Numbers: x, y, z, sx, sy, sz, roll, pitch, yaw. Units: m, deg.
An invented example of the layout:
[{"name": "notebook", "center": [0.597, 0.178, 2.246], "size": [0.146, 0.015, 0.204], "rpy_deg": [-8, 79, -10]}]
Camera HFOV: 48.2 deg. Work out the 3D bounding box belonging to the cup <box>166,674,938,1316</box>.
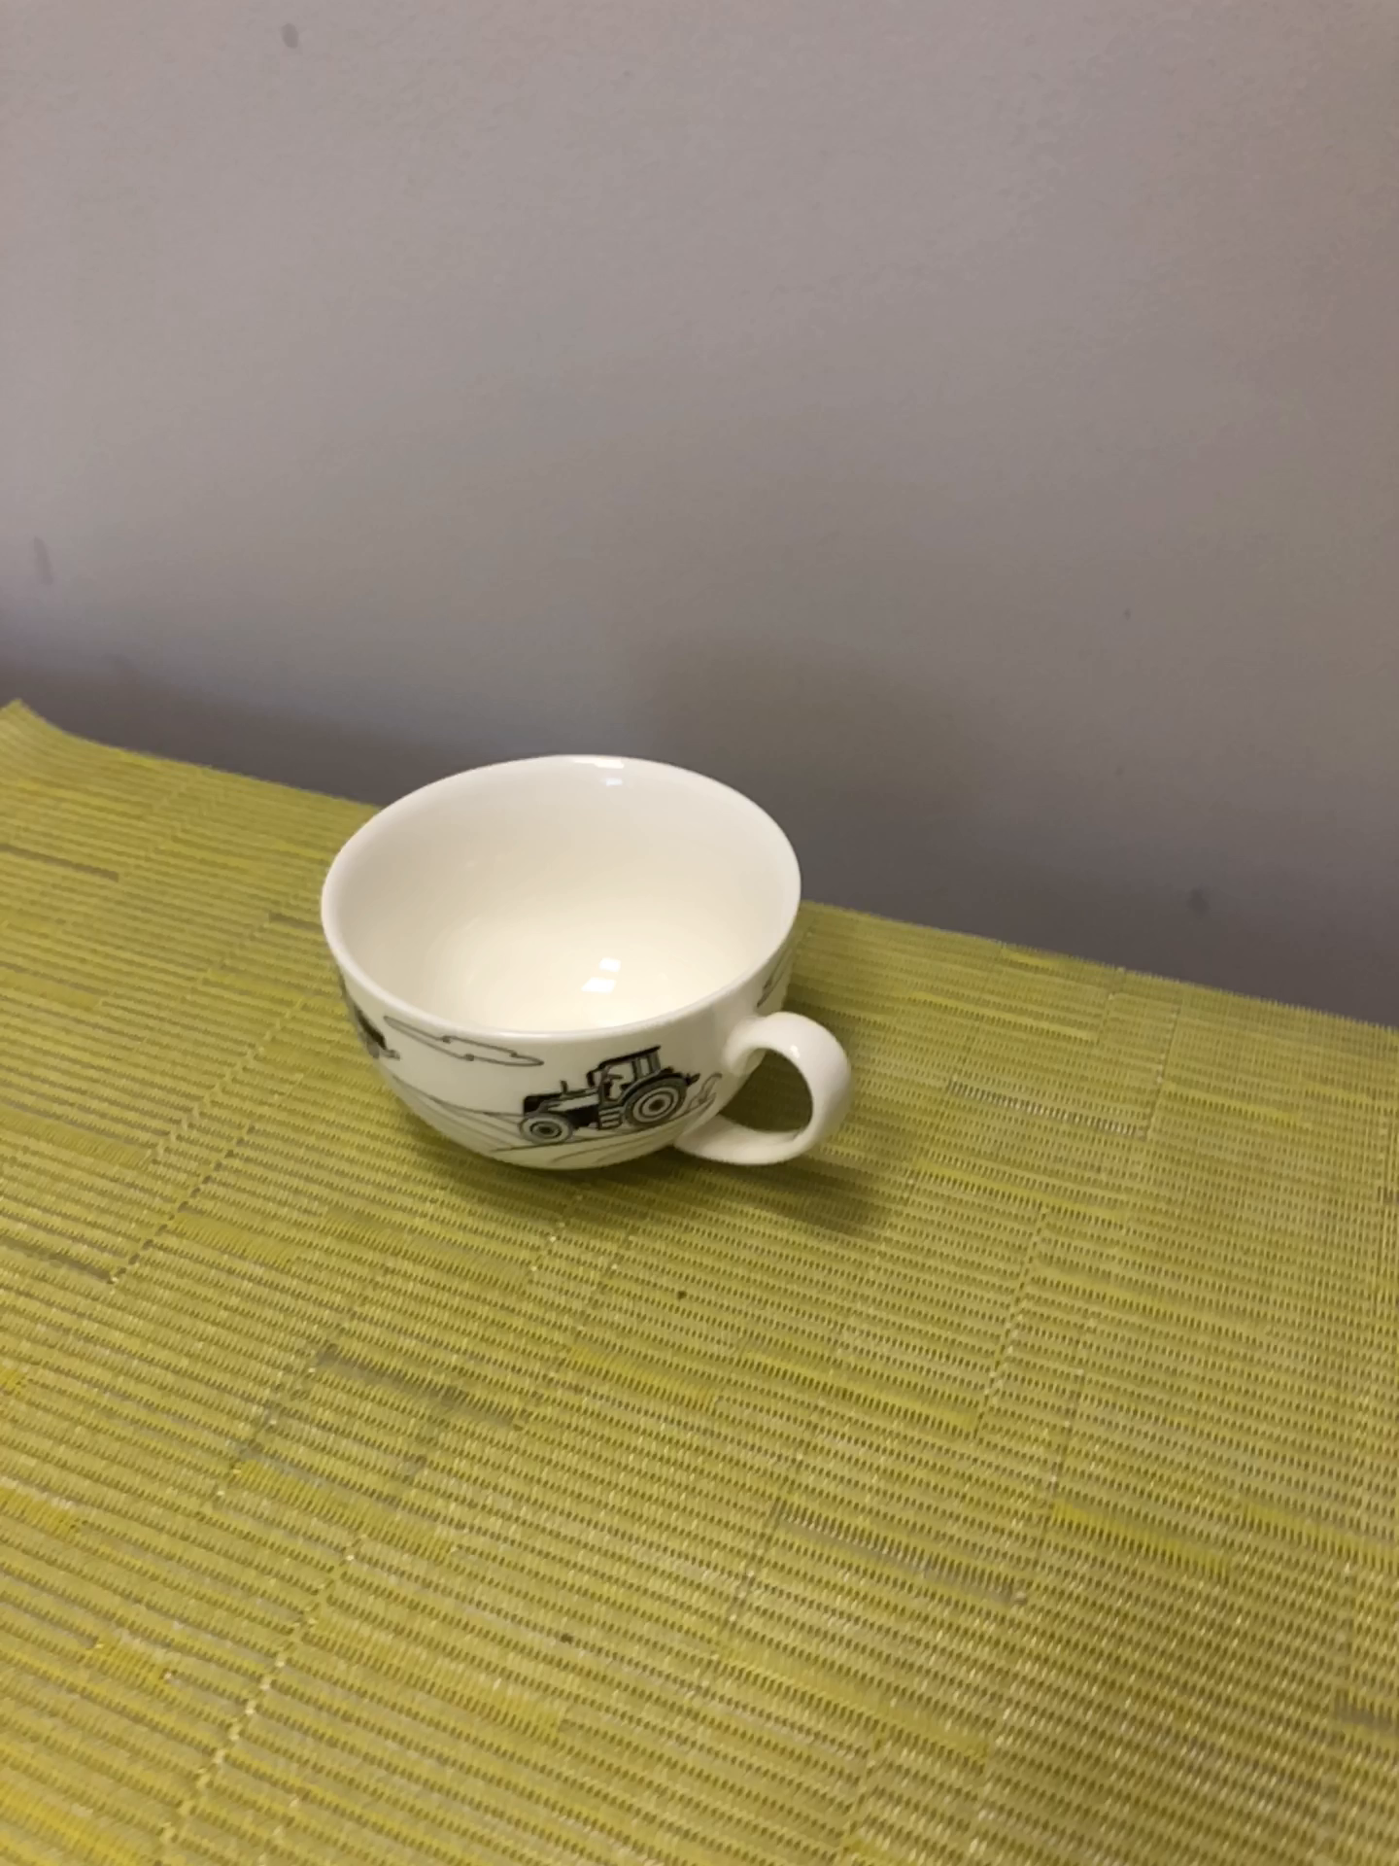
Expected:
[{"name": "cup", "center": [-0.027, 0.004, 0.306], "size": [0.114, 0.051, 0.089], "rpy_deg": [23, 42, 28]}]
